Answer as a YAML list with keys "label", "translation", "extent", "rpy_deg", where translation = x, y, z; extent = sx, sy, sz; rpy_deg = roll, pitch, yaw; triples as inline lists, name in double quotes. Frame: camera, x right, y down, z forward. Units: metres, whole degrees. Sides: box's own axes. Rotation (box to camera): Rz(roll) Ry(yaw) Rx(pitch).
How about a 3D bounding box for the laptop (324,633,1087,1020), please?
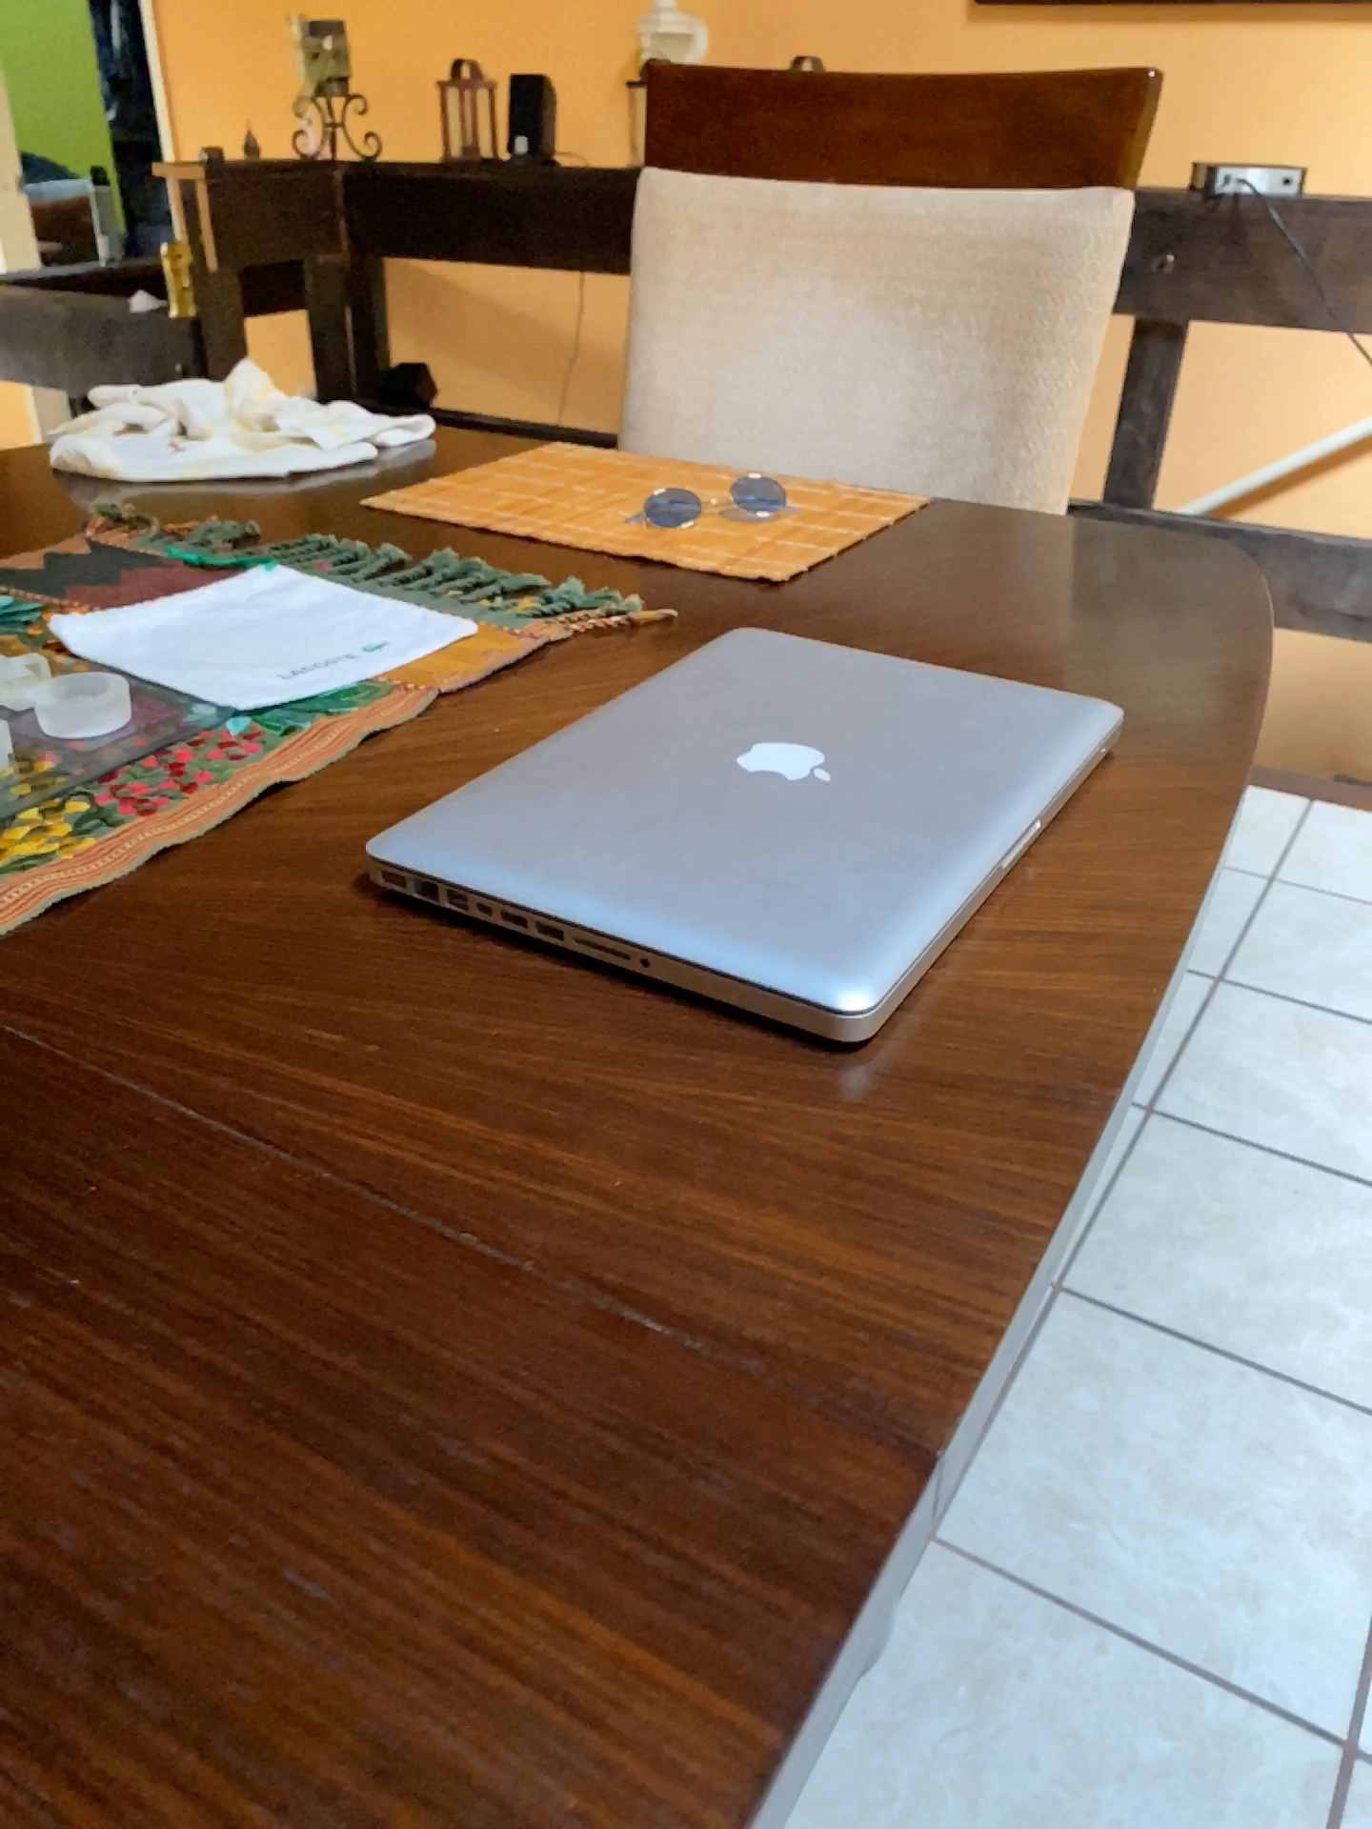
- label: "laptop"
  translation: [0.029, -0.065, 0.662]
  extent: [0.232, 0.002, 0.325]
  rpy_deg: [17, 34, 25]
